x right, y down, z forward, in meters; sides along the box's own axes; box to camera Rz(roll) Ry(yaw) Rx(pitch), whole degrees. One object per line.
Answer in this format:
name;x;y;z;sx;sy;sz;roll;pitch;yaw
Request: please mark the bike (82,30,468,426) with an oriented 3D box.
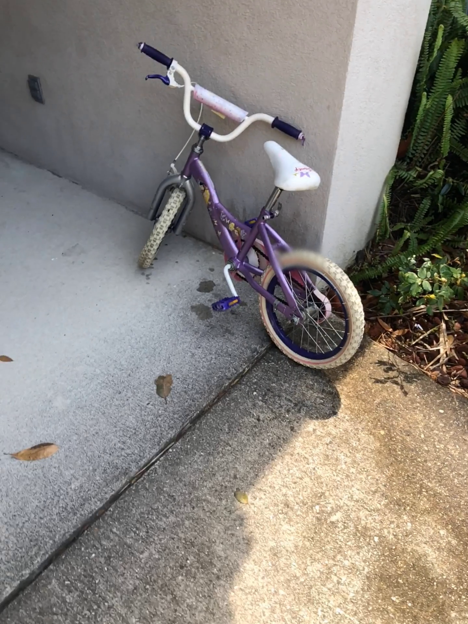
bike;0.102;-0.312;1.611;0.617;0.816;0.848;-32;50;-32
